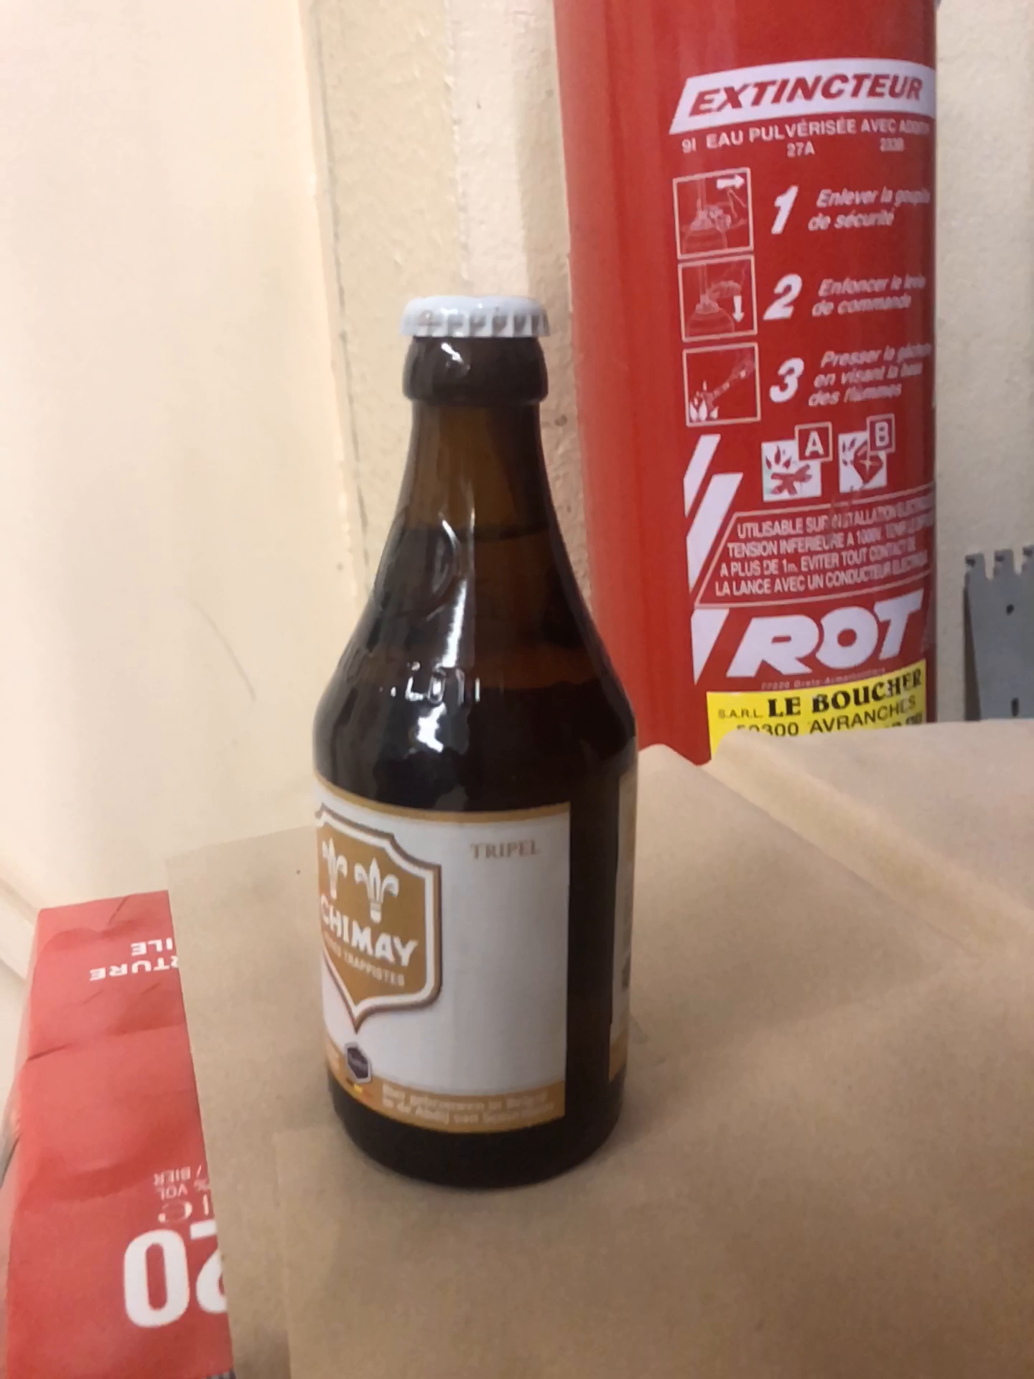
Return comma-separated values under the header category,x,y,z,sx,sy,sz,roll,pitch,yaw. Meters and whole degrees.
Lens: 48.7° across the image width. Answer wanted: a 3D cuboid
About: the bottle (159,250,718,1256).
category,x,y,z,sx,sy,sz,roll,pitch,yaw
bottle,-0.014,0.005,0.233,0.070,0.169,0.080,-13,20,-35
